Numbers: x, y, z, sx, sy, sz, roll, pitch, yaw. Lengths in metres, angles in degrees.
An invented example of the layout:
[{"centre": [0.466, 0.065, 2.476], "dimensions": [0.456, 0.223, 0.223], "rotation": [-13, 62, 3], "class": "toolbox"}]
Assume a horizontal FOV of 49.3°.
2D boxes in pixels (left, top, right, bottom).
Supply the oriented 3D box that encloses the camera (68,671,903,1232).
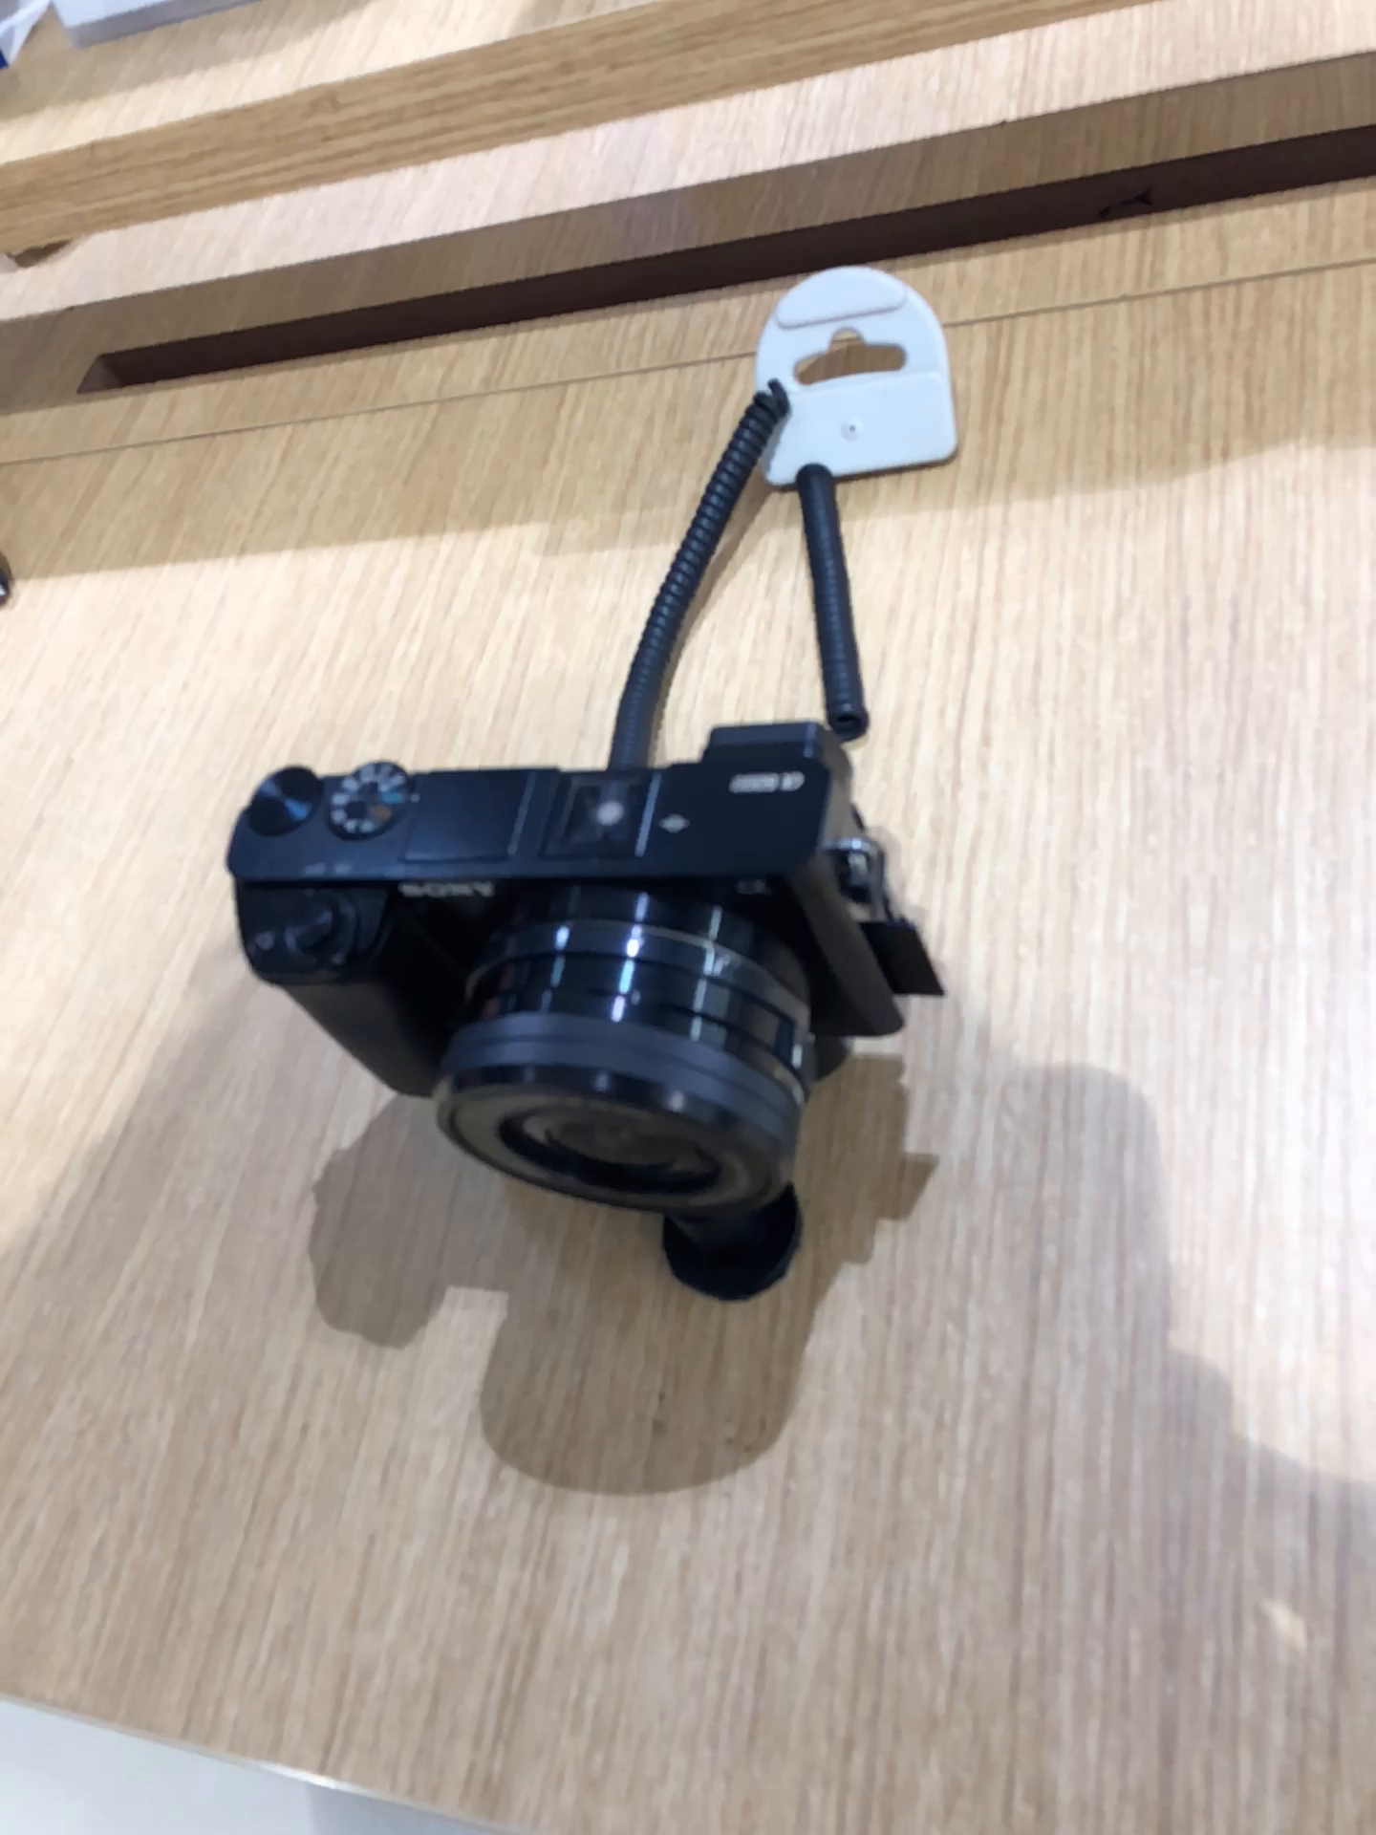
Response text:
[{"centre": [-0.027, 0.009, 0.248], "dimensions": [0.107, 0.070, 0.059], "rotation": [-1, 59, 21], "class": "camera"}]
